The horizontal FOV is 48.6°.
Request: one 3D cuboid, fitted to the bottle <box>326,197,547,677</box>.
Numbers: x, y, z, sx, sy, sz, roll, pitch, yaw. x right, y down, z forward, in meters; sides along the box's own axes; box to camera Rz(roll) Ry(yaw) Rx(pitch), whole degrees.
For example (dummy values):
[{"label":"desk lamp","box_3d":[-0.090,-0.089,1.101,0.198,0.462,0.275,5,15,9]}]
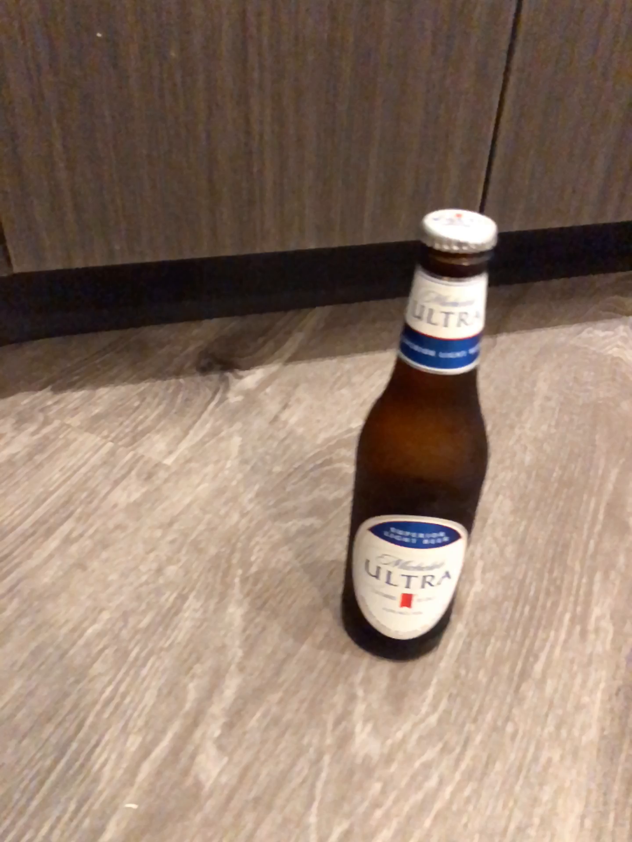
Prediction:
[{"label":"bottle","box_3d":[0.045,0.019,0.306,0.060,0.209,0.060,2,37,-1]}]
